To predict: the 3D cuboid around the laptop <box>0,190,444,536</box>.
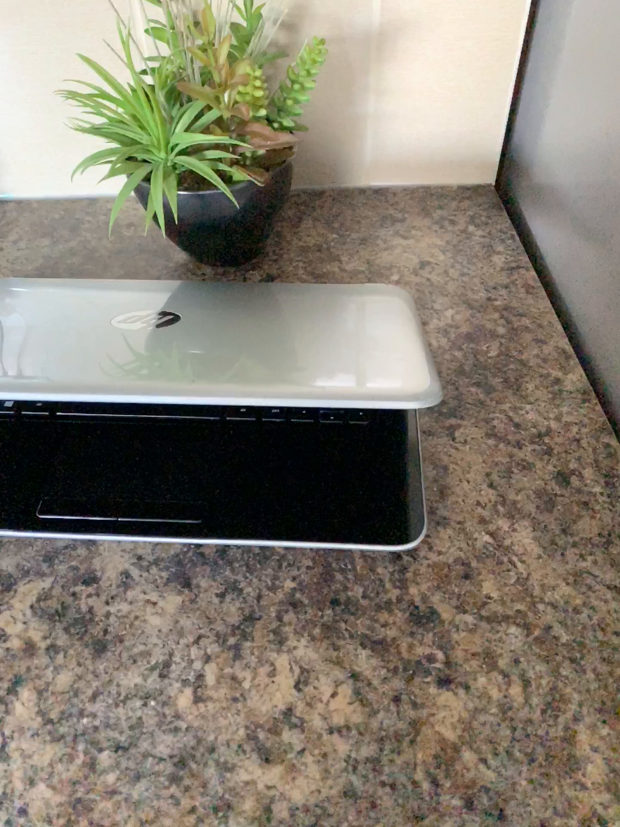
[{"bbox_3d":[-0.098,-0.043,0.384,0.328,0.081,0.208,1,48,3],"label":"laptop"}]
